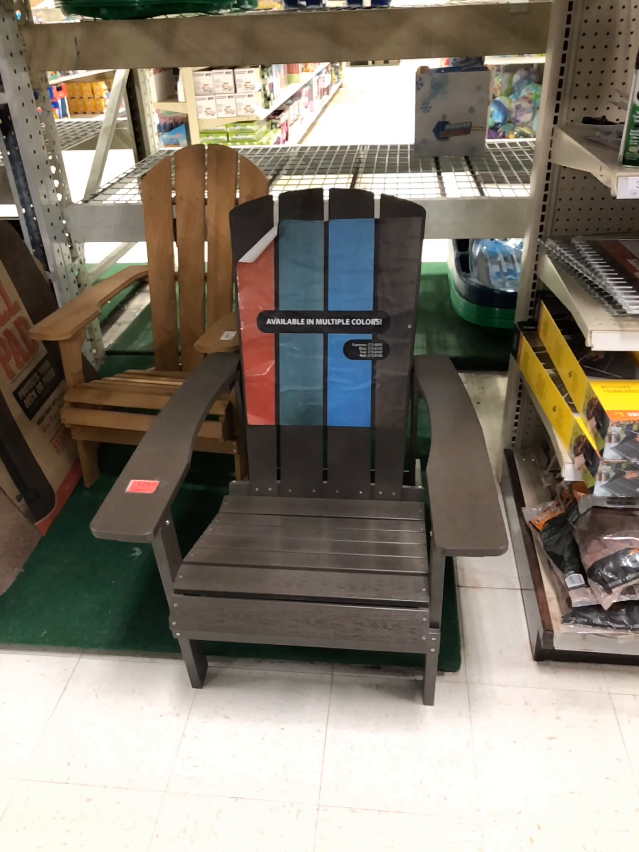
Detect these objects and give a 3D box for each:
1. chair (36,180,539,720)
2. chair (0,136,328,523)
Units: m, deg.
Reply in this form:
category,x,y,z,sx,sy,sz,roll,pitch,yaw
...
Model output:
category,x,y,z,sx,sy,sz,roll,pitch,yaw
chair,0.007,-0.024,1.588,0.717,0.816,0.920,2,32,7
chair,-0.395,-0.371,2.198,0.637,0.845,0.980,5,32,12
